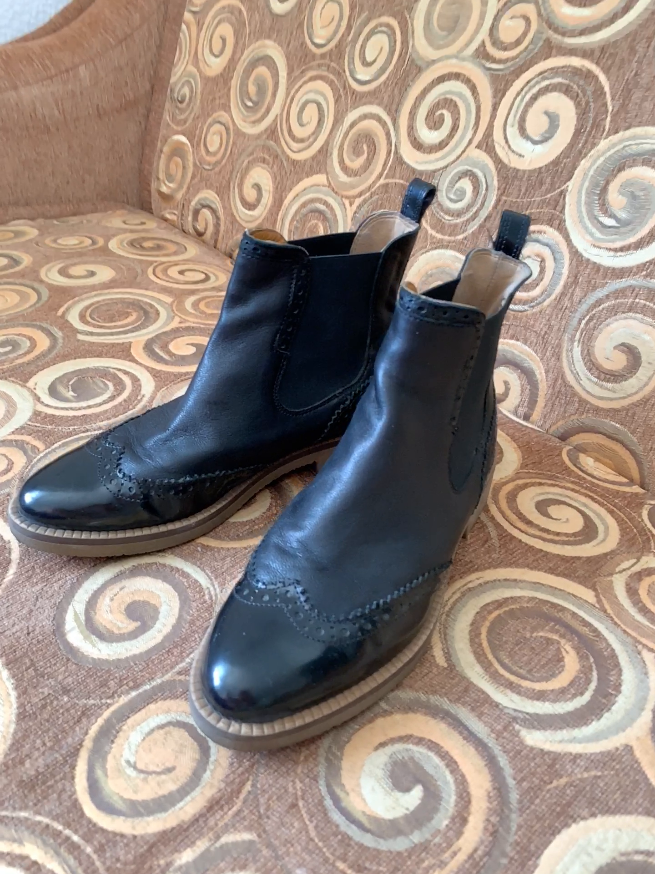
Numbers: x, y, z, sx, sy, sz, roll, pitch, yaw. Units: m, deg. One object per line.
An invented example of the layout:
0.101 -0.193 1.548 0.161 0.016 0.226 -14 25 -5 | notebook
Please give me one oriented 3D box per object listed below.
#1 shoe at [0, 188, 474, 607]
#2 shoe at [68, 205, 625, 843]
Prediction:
-0.059 -0.034 0.359 0.240 0.139 0.100 -17 41 -24 | shoe
0.038 0.005 0.326 0.100 0.139 0.291 22 41 24 | shoe
